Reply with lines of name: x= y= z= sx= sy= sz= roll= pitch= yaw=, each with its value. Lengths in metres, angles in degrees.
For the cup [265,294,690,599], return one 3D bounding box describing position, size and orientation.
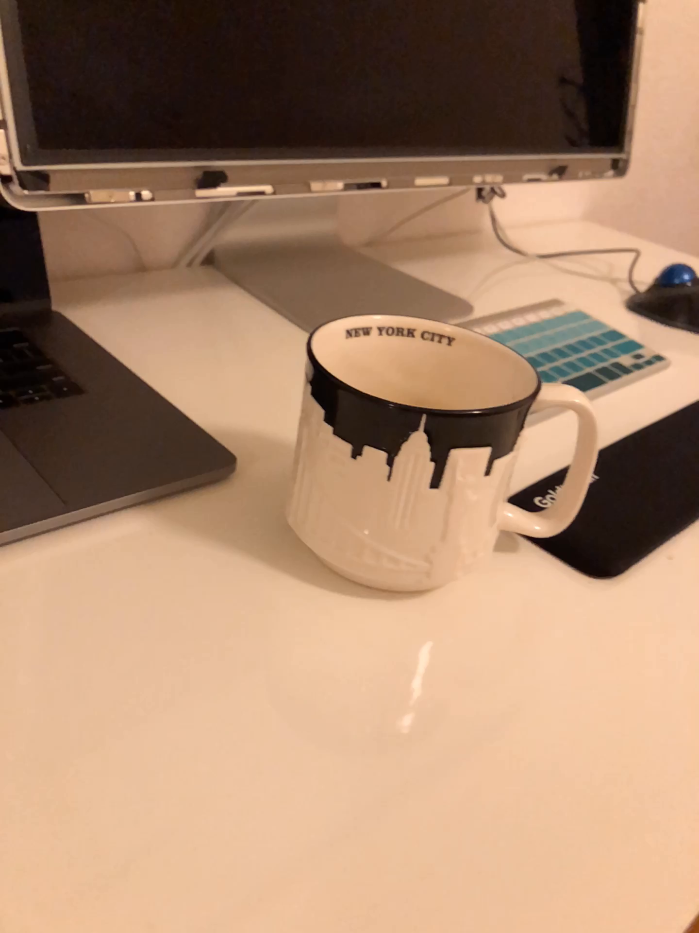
cup: x=0.046 y=-0.013 z=0.360 sx=0.150 sy=0.089 sz=0.111 roll=0 pitch=32 yaw=-15
